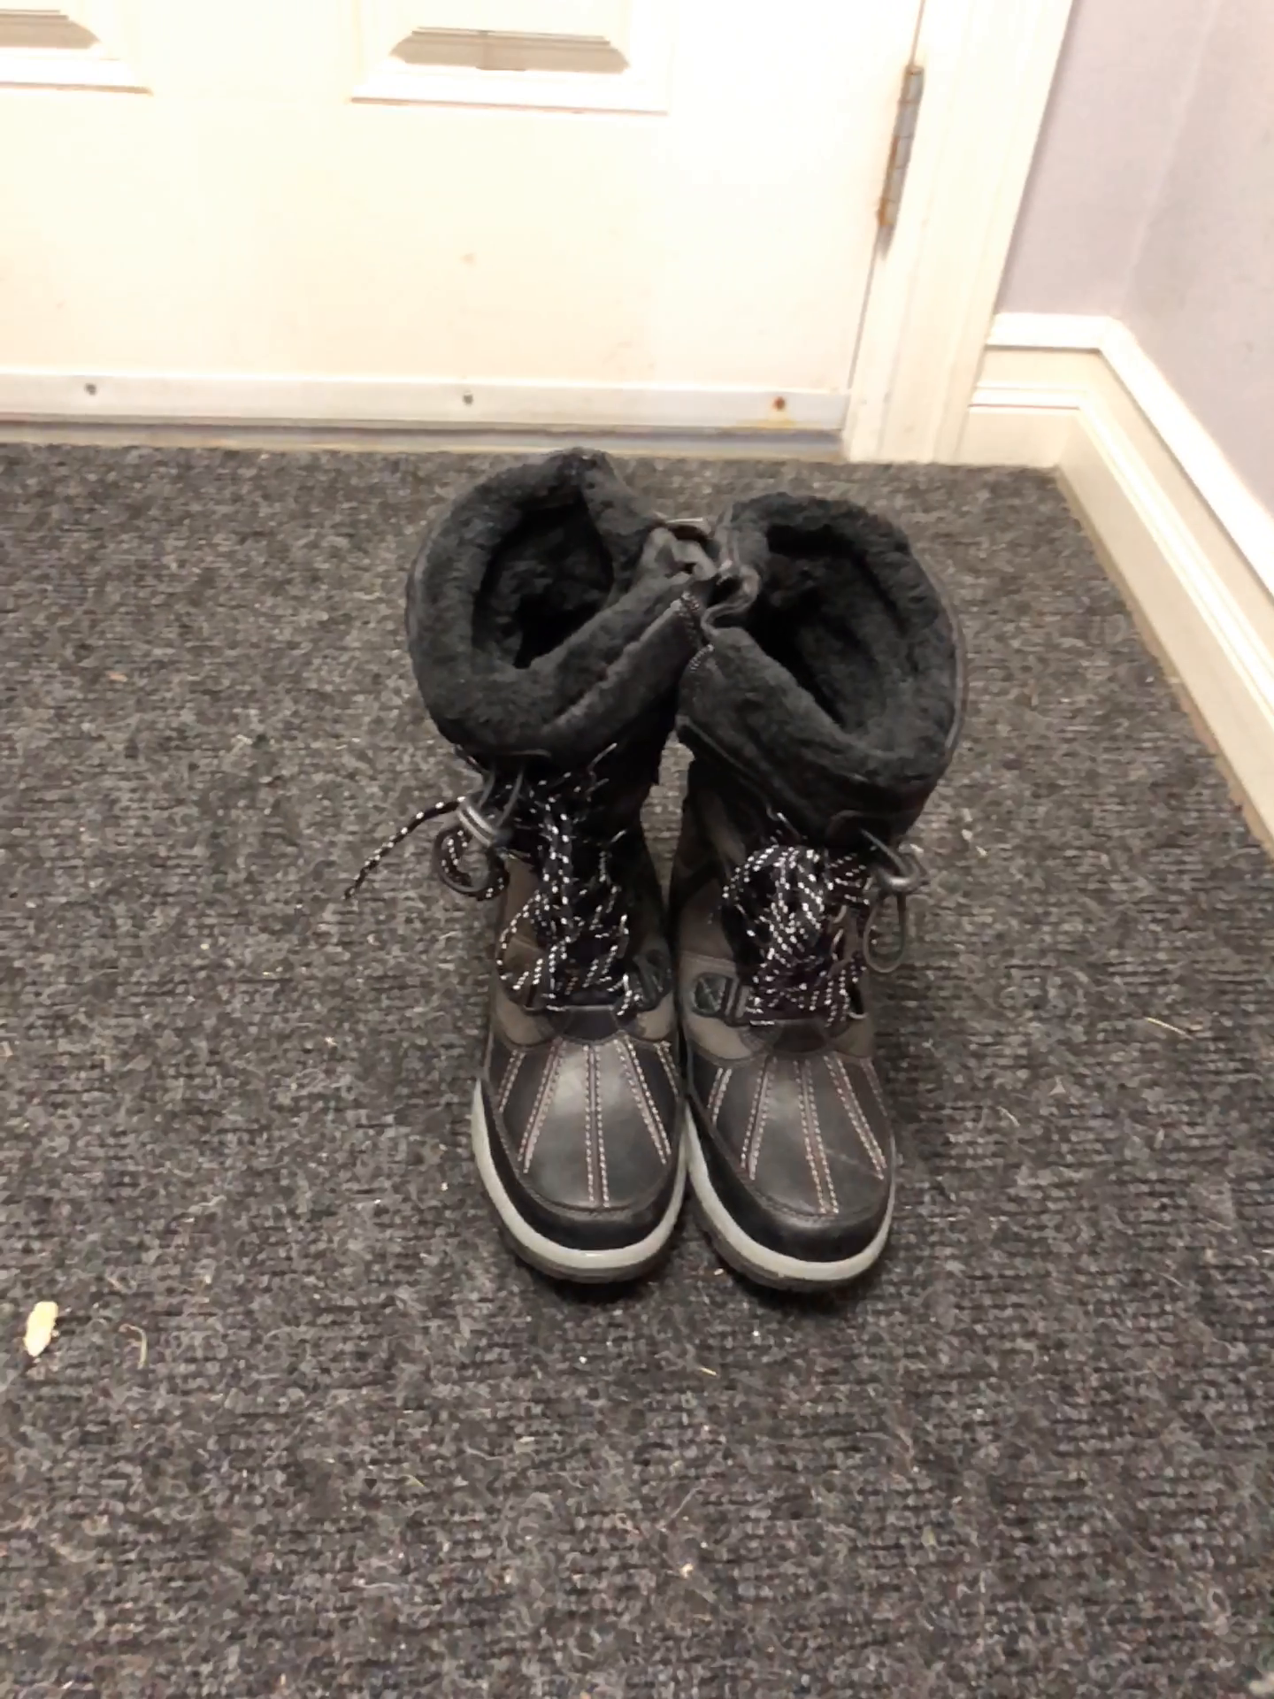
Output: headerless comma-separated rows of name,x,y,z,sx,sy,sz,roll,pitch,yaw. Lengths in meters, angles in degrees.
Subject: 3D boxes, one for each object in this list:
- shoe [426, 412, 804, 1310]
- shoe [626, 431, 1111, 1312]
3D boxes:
shoe,-0.027,0.004,0.593,0.110,0.269,0.261,-1,45,-7
shoe,0.069,0.008,0.605,0.100,0.269,0.261,-2,45,-8
